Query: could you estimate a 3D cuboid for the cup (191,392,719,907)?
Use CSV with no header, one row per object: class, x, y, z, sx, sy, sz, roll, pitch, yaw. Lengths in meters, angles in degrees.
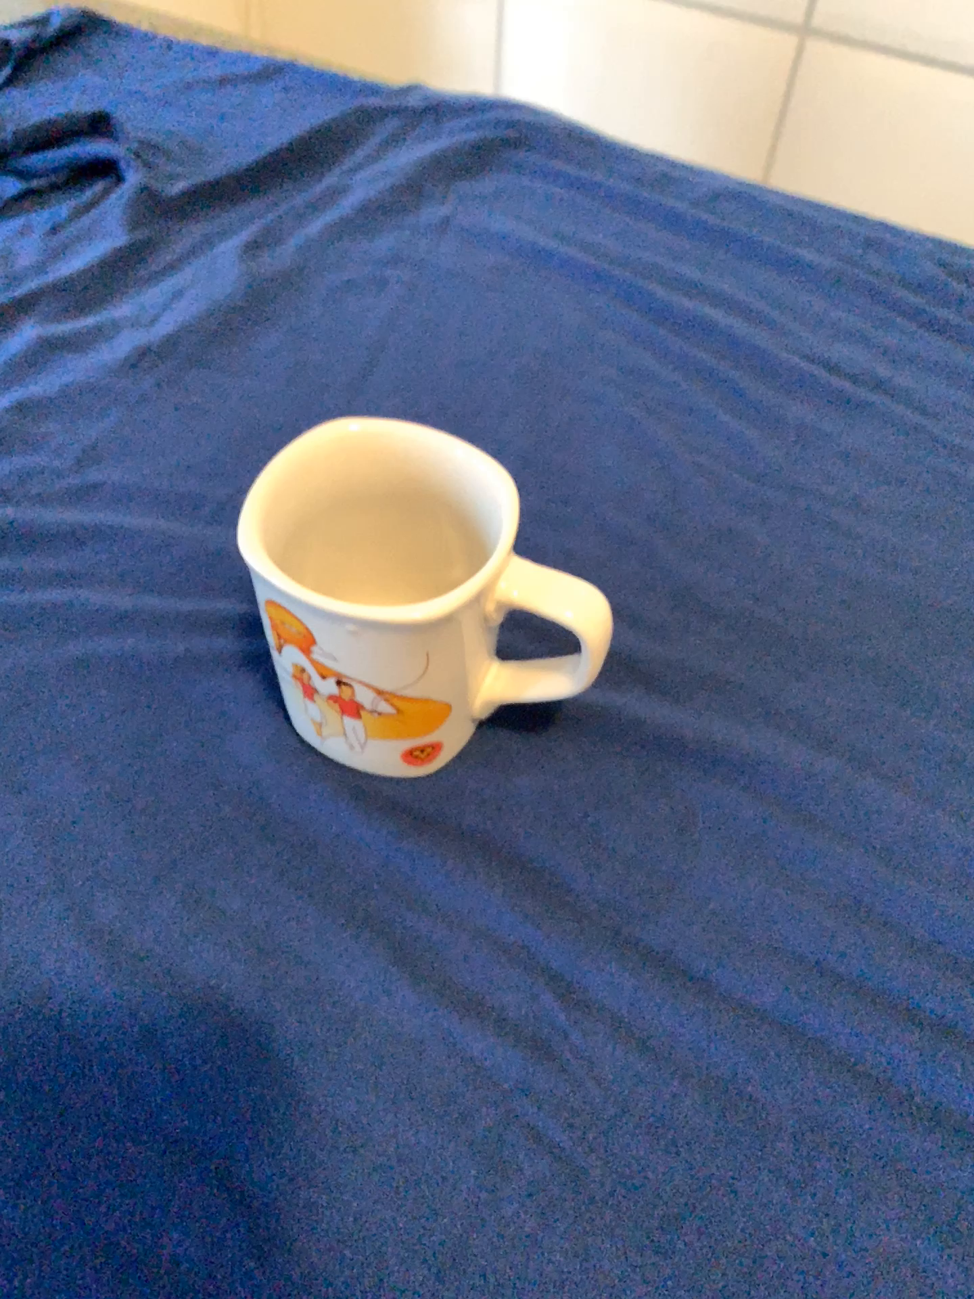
cup,-0.008,0.000,0.283,0.110,0.090,0.070,21,52,13
